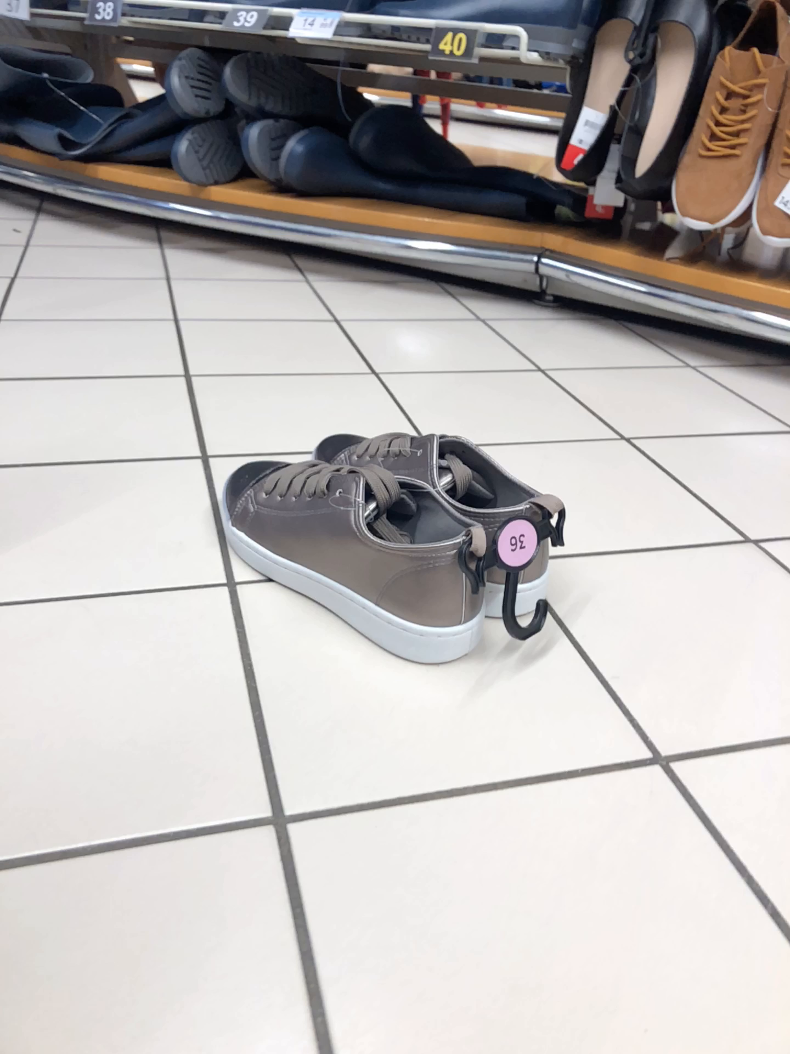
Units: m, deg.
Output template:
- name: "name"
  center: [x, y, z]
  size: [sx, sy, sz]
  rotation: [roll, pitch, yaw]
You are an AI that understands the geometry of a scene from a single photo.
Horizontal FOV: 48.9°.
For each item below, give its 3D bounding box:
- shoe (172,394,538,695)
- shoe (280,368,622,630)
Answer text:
- name: "shoe"
  center: [-0.037, -0.003, 0.560]
  size: [0.090, 0.080, 0.240]
  rotation: [-22, 39, -40]
- name: "shoe"
  center: [0.027, -0.032, 0.618]
  size: [0.090, 0.080, 0.240]
  rotation: [-21, 38, -39]
